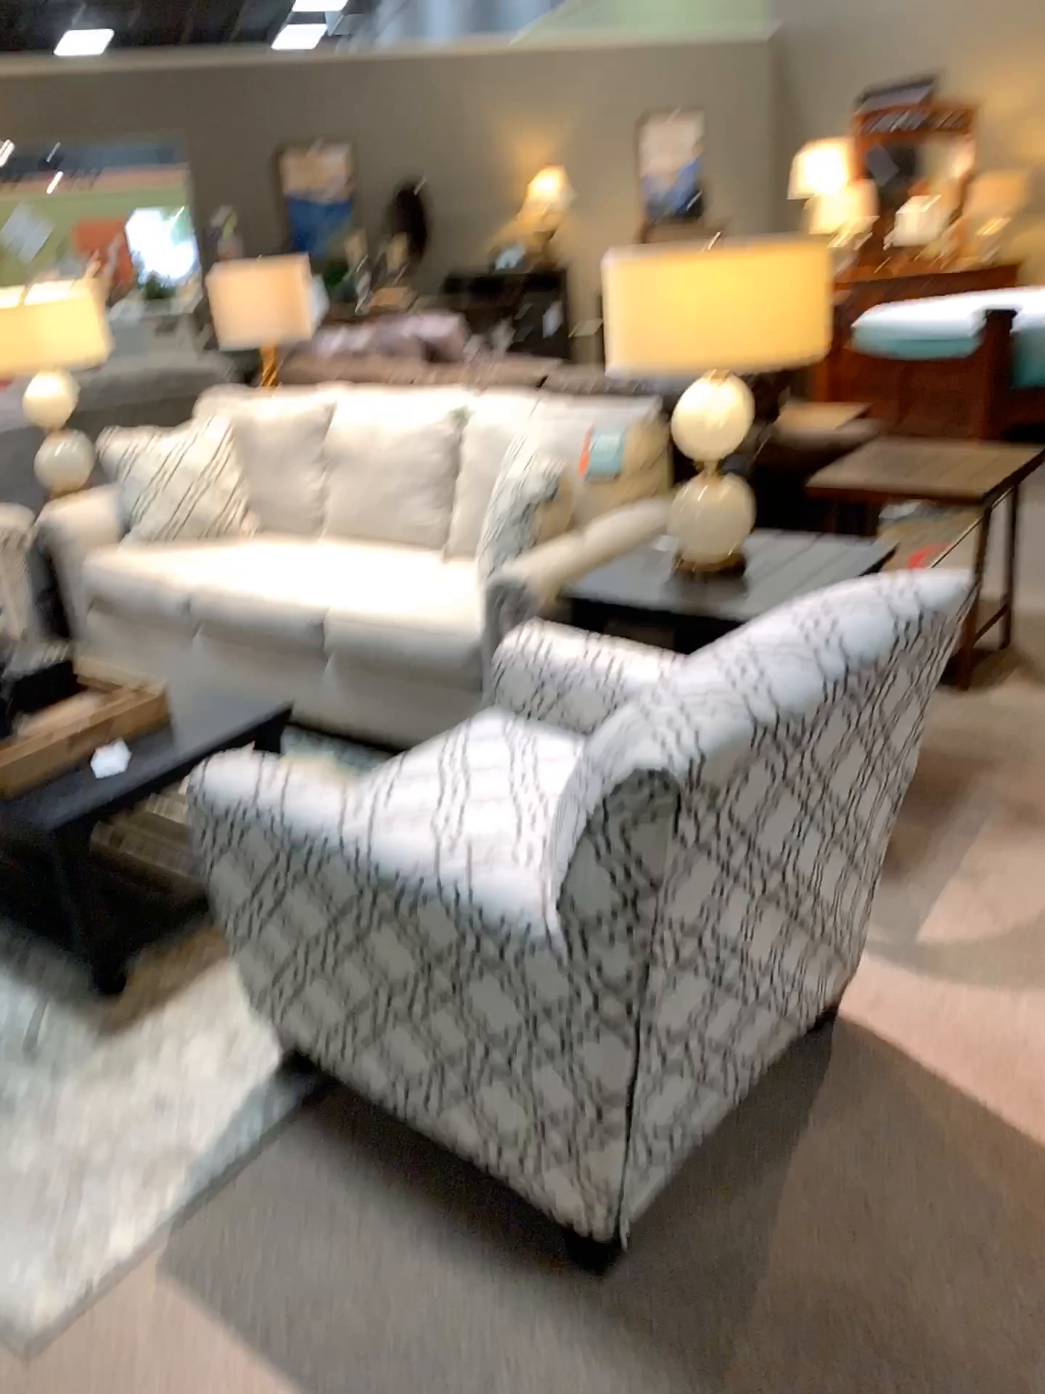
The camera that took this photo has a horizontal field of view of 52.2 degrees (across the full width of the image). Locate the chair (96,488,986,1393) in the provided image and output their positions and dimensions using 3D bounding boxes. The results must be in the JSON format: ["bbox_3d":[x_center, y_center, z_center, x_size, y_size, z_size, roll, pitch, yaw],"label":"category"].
[{"bbox_3d":[0.051,0.220,1.715,0.968,0.847,0.876,16,30,40],"label":"chair"}]
